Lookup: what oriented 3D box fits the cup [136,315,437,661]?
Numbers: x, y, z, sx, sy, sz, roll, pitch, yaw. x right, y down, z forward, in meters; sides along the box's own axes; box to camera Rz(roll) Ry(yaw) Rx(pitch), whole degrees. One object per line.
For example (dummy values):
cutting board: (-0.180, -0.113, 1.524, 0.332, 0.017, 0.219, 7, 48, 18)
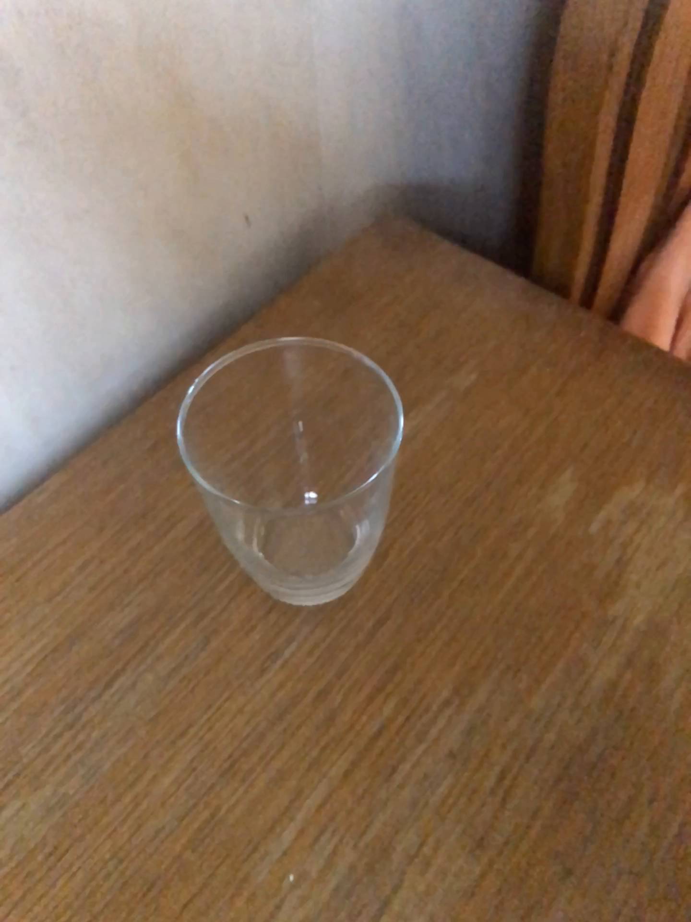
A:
cup: (-0.015, 0.010, 0.264, 0.070, 0.080, 0.070, -1, 53, 1)
